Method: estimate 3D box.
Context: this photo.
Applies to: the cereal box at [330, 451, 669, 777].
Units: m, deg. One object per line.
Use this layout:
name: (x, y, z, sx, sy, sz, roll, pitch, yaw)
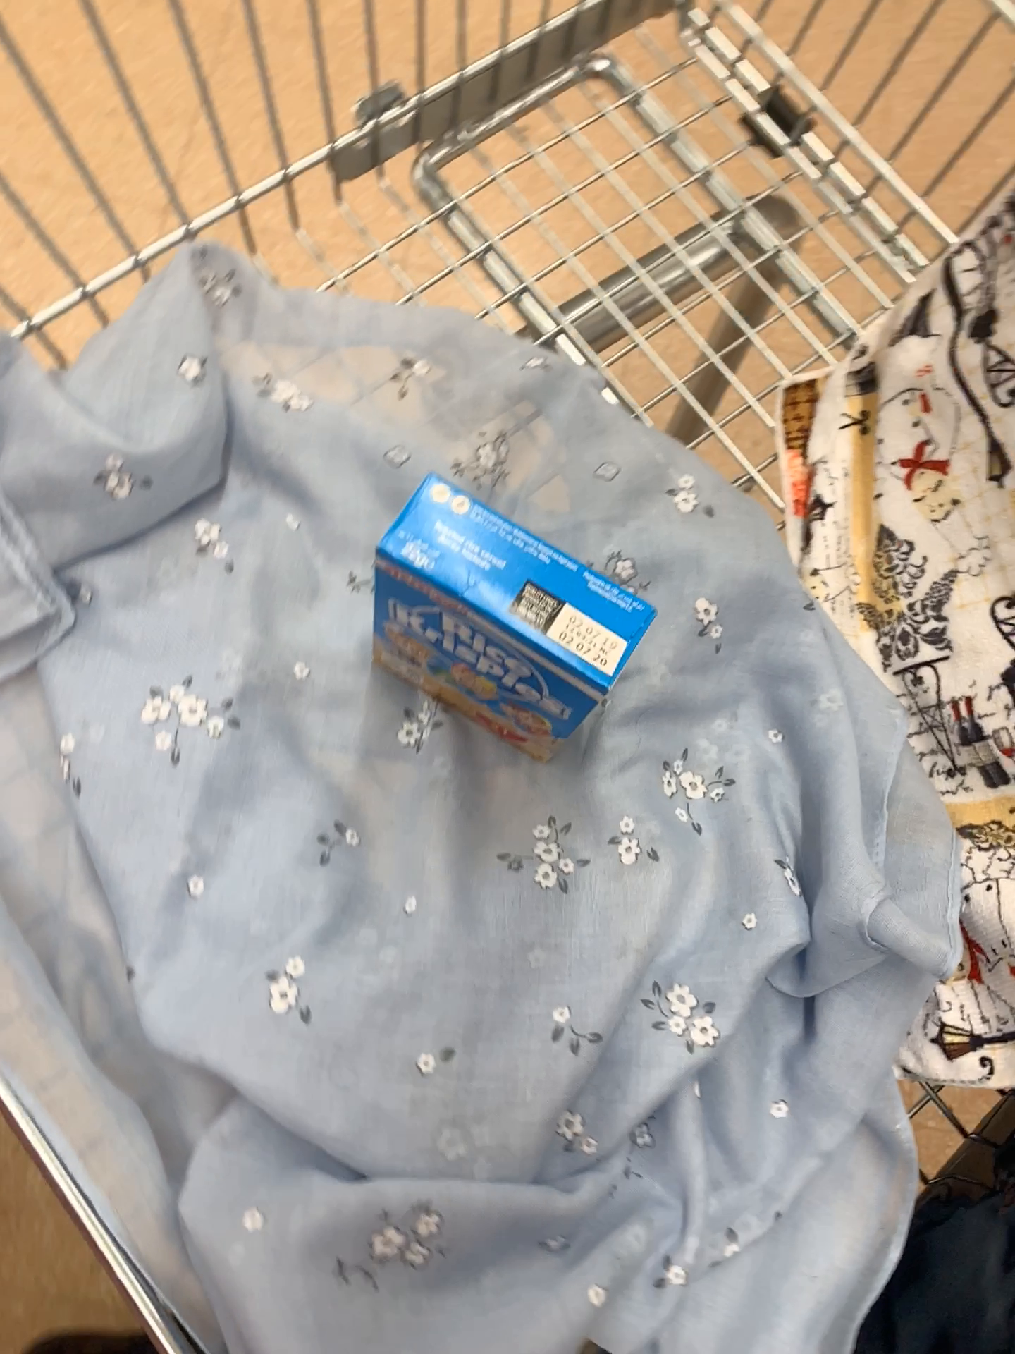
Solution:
cereal box: (-0.009, -0.014, 0.393, 0.100, 0.140, 0.040, 30, 75, 2)
